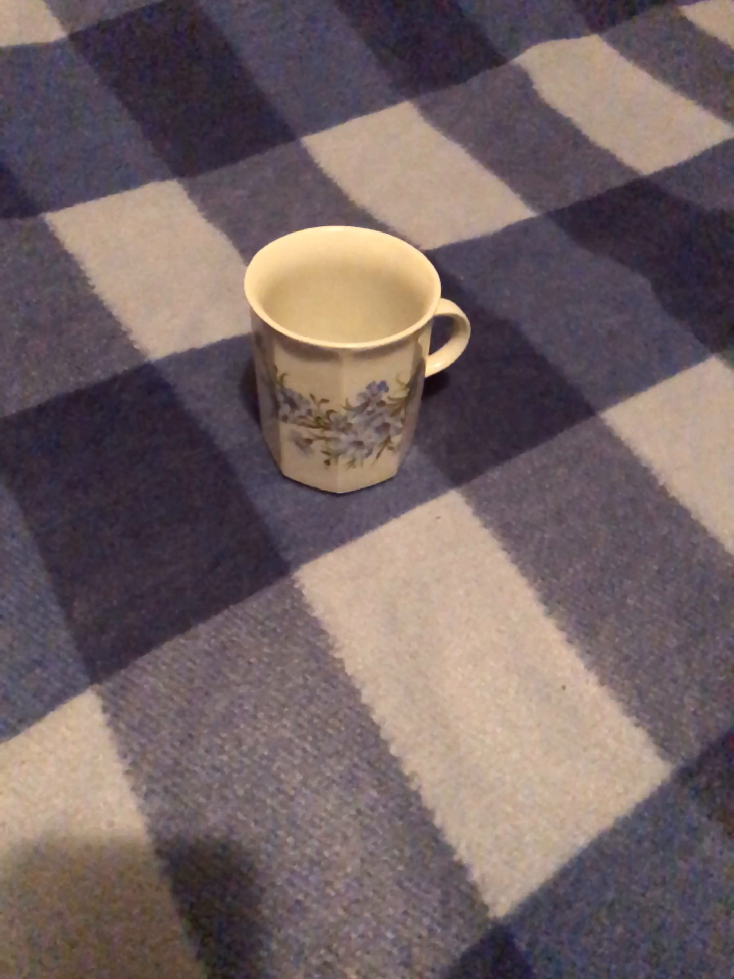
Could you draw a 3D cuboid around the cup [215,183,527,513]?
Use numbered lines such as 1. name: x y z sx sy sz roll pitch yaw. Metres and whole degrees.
1. cup: -0.002 -0.059 0.347 0.098 0.094 0.077 -15 56 -14
